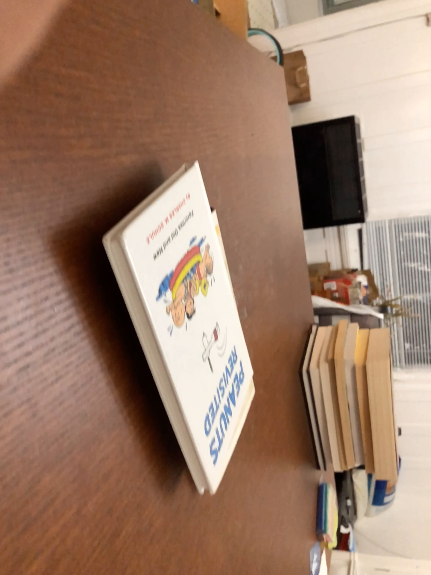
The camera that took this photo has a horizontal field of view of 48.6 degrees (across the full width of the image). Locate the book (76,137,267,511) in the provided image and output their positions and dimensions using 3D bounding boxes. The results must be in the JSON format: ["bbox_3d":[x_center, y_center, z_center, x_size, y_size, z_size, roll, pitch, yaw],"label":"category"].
[{"bbox_3d":[-0.009,0.021,0.341,0.161,0.020,0.210,-63,142,-54],"label":"book"}]
